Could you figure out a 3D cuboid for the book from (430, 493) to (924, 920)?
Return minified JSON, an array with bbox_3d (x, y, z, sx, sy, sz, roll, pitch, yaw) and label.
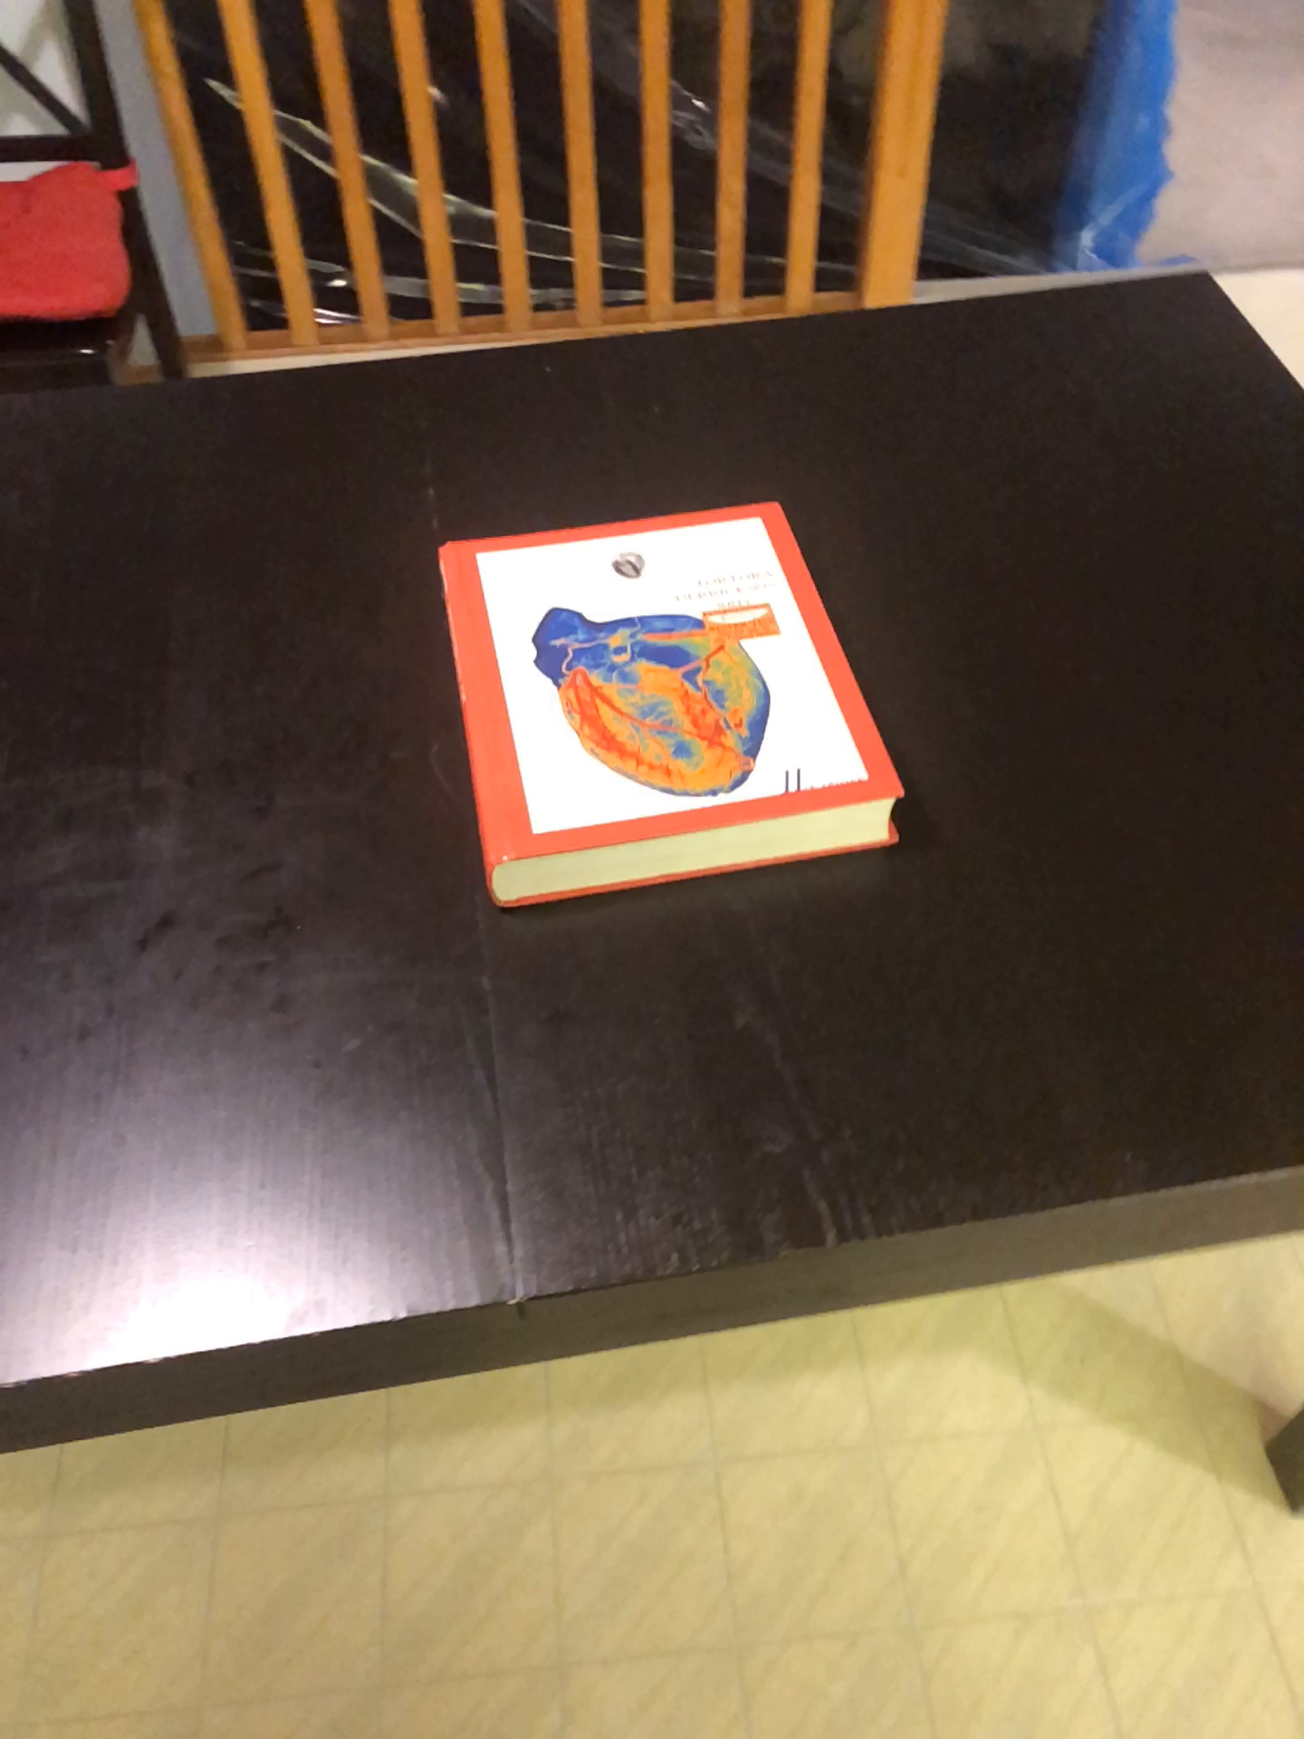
[{"bbox_3d":[0.002,-0.116,0.913,0.250,0.050,0.291,-10,50,-7],"label":"book"}]
